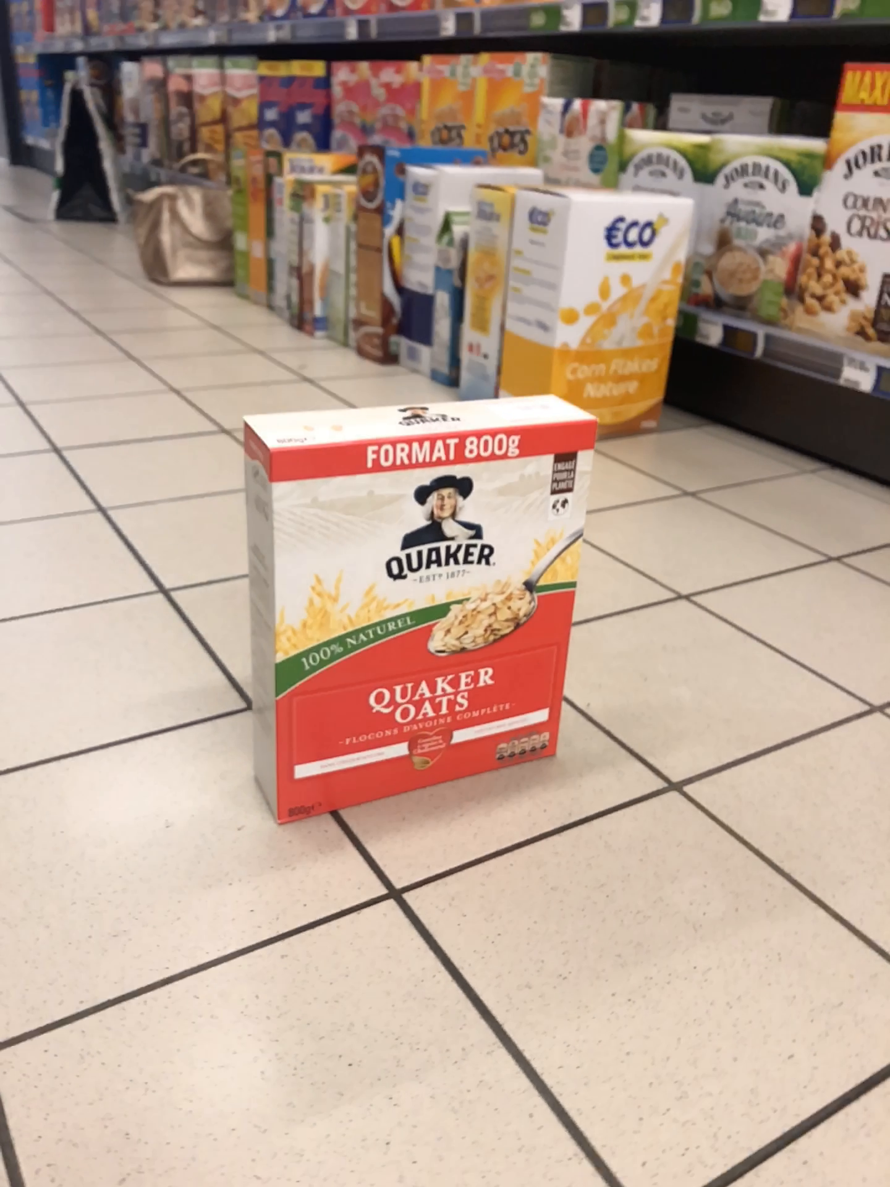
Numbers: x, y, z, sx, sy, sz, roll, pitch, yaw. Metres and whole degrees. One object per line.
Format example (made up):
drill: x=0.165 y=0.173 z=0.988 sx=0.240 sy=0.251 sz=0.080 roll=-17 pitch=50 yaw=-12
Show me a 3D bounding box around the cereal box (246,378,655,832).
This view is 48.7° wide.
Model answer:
cereal box: x=0.000 y=0.002 z=0.565 sx=0.211 sy=0.229 sz=0.060 roll=-9 pitch=28 yaw=-25
